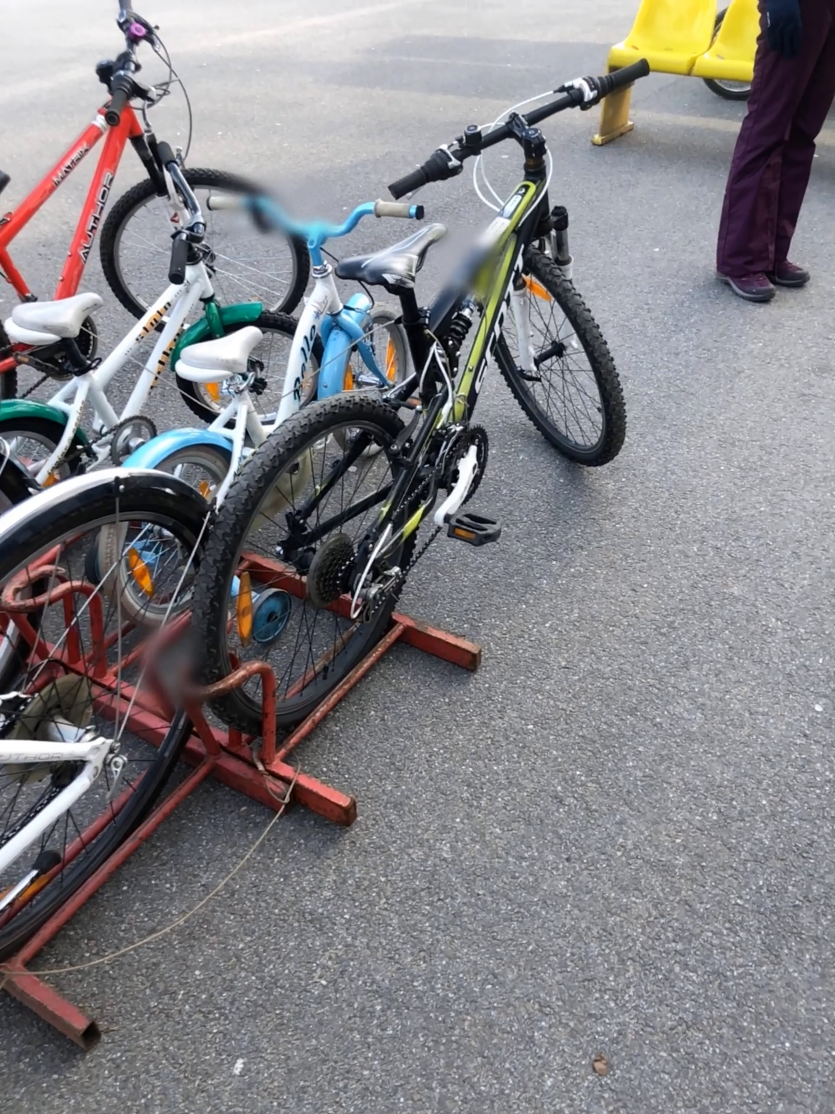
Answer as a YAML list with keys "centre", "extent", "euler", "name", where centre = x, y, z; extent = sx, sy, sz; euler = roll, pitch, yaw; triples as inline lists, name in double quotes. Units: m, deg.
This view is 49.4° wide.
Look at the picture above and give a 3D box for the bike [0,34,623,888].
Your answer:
- centre: [-0.046, -0.344, 1.714]
  extent: [0.528, 0.901, 1.379]
  euler: [12, 40, 19]
  name: "bike"
